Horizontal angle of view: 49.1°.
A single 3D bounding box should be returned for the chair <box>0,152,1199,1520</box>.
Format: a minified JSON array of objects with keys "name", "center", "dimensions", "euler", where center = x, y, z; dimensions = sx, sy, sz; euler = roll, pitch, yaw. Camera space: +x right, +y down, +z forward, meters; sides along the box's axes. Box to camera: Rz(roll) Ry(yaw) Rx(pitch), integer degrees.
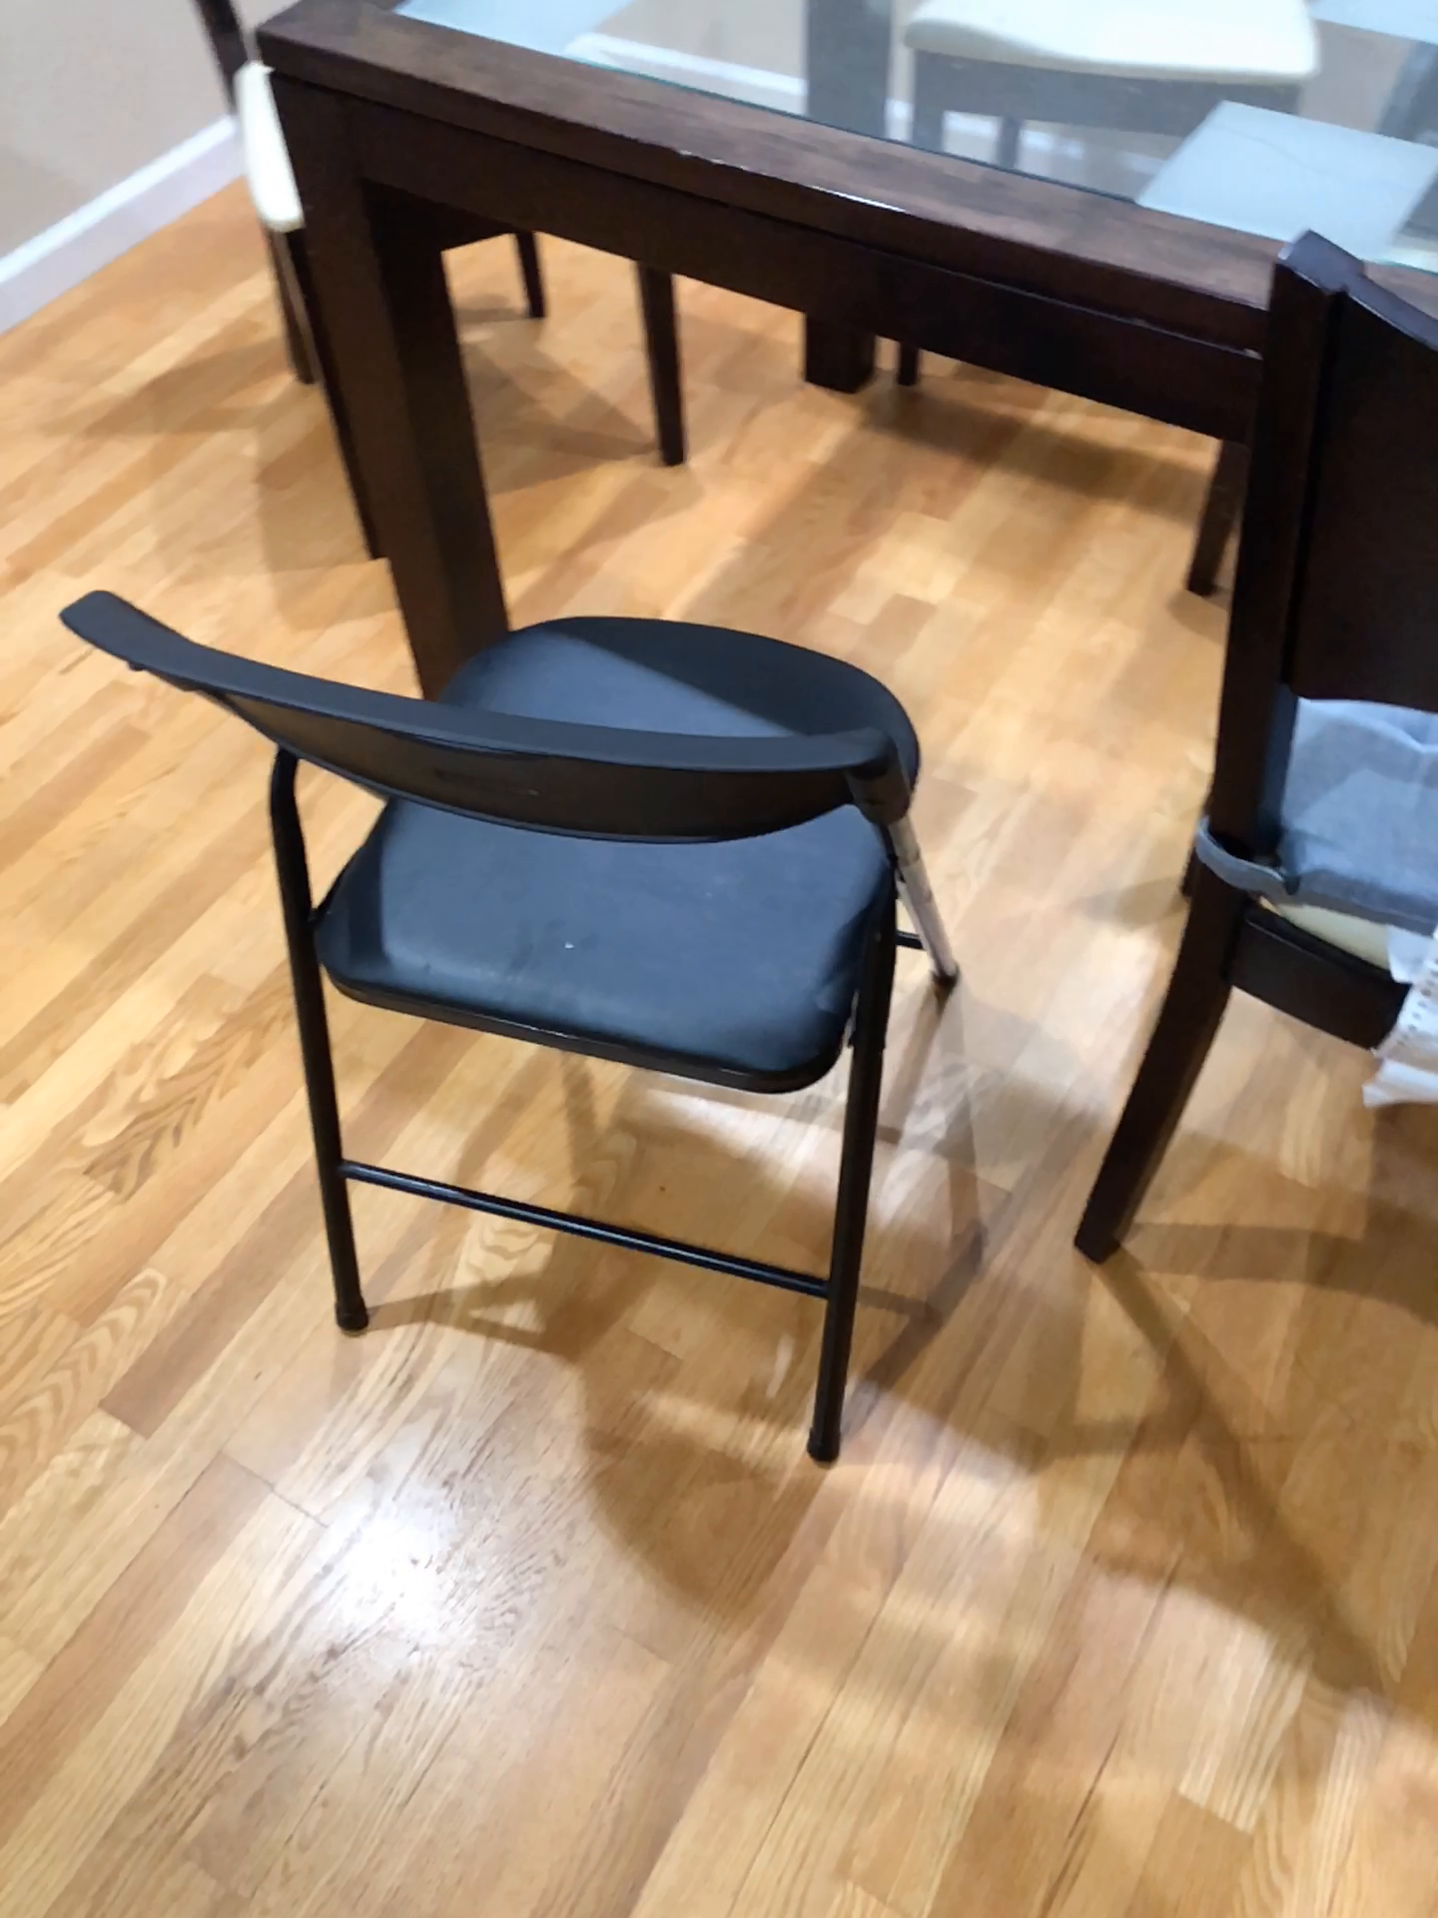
[{"name":"chair","center":[-0.036,-0.057,1.093],"dimensions":[0.520,0.697,0.522],"euler":[13,54,13]}]
